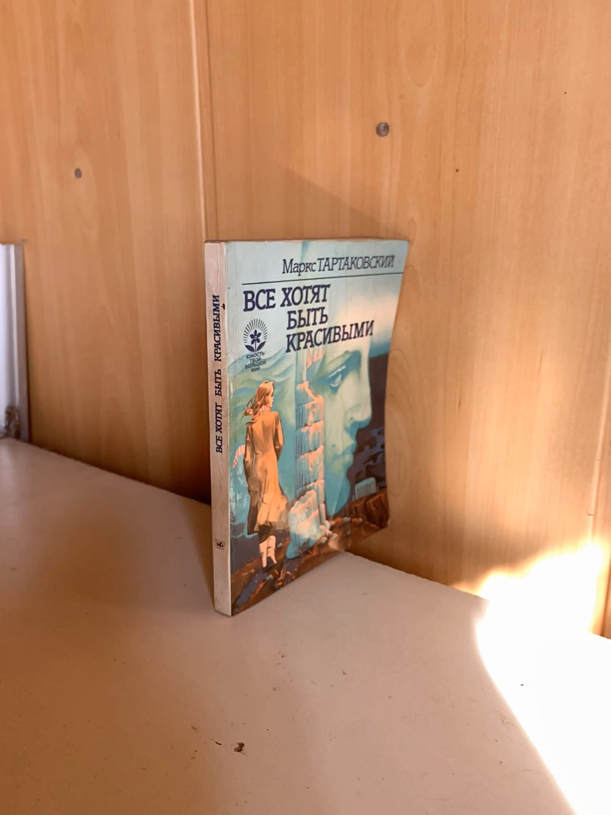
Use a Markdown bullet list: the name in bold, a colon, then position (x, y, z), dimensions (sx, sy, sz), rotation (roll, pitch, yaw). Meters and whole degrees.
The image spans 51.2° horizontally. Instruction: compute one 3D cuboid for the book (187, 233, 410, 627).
- **book**: position (0.003, 0.000, 0.304), dimensions (0.029, 0.159, 0.125), rotation (11, 19, 36)
